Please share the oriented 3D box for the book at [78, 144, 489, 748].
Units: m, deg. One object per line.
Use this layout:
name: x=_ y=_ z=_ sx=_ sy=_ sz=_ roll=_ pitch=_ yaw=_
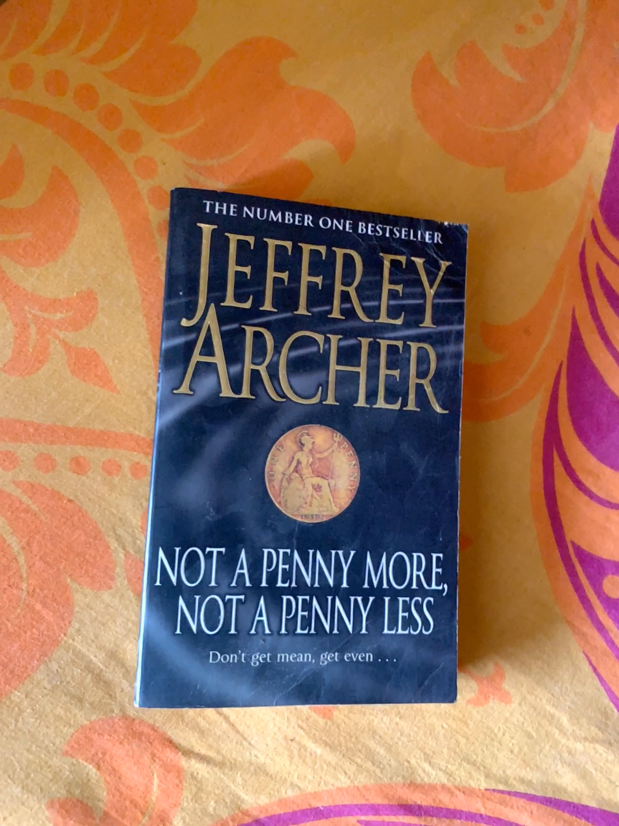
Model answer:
book: x=-0.004 y=0.009 z=0.197 sx=0.110 sy=0.030 sz=0.160 roll=4 pitch=83 yaw=-12
